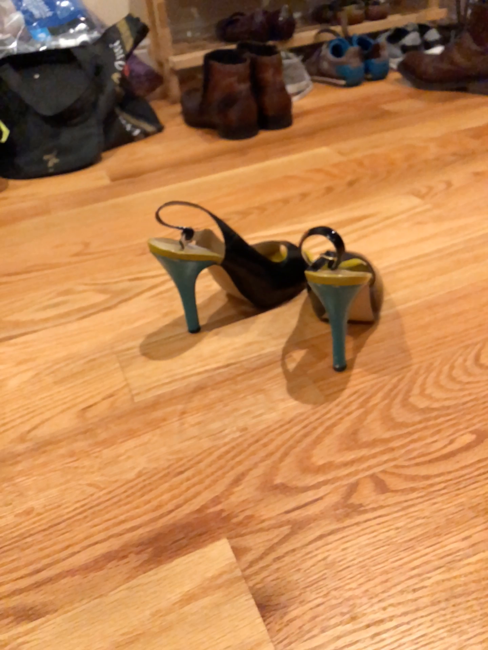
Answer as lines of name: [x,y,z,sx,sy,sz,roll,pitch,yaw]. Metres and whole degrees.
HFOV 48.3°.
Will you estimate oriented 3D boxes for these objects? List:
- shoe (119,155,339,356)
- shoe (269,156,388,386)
shoe: [-0.005,-0.080,0.567,0.204,0.121,0.085,-28,40,-26]
shoe: [0.090,-0.062,0.523,0.085,0.131,0.202,3,37,14]
